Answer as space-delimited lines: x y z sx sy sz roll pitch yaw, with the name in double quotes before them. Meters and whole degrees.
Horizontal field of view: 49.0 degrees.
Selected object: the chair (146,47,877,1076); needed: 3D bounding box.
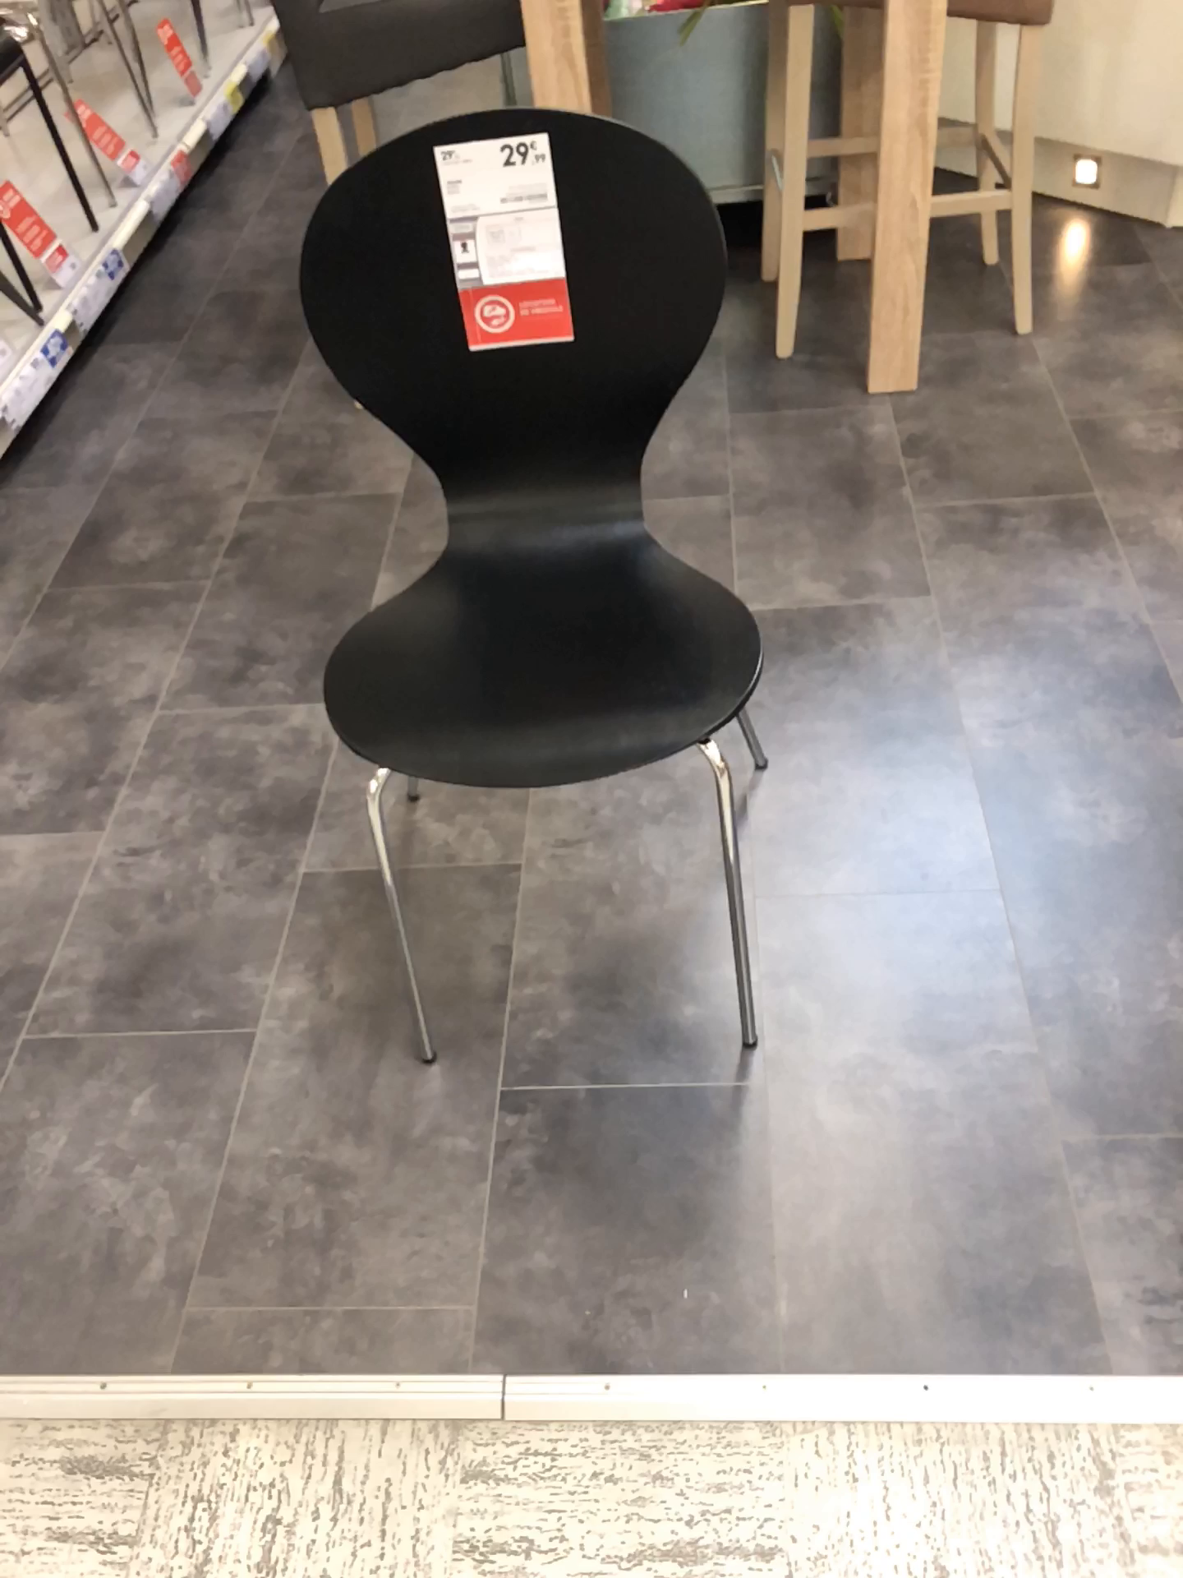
"chair" -0.006 -0.175 1.352 0.490 0.895 0.503 -4 45 5
